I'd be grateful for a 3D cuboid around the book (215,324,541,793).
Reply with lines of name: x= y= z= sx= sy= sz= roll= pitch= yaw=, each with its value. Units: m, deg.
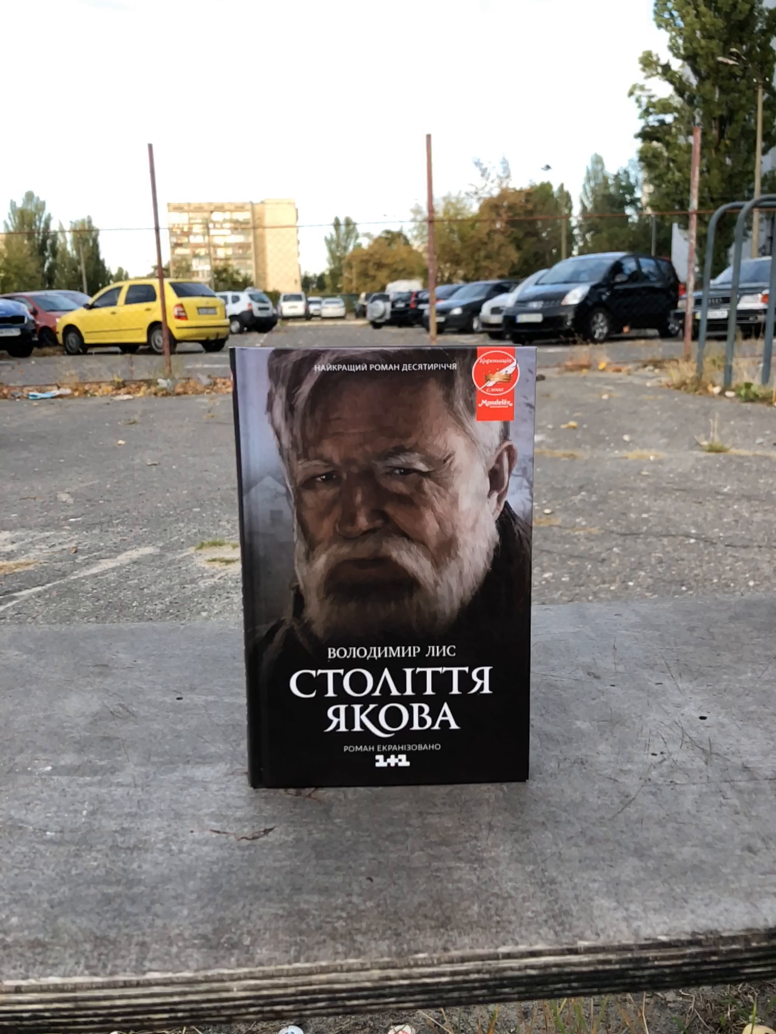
book: x=-0.001 y=0.021 z=0.399 sx=0.140 sy=0.212 sz=0.030 roll=-2 pitch=10 yaw=0
